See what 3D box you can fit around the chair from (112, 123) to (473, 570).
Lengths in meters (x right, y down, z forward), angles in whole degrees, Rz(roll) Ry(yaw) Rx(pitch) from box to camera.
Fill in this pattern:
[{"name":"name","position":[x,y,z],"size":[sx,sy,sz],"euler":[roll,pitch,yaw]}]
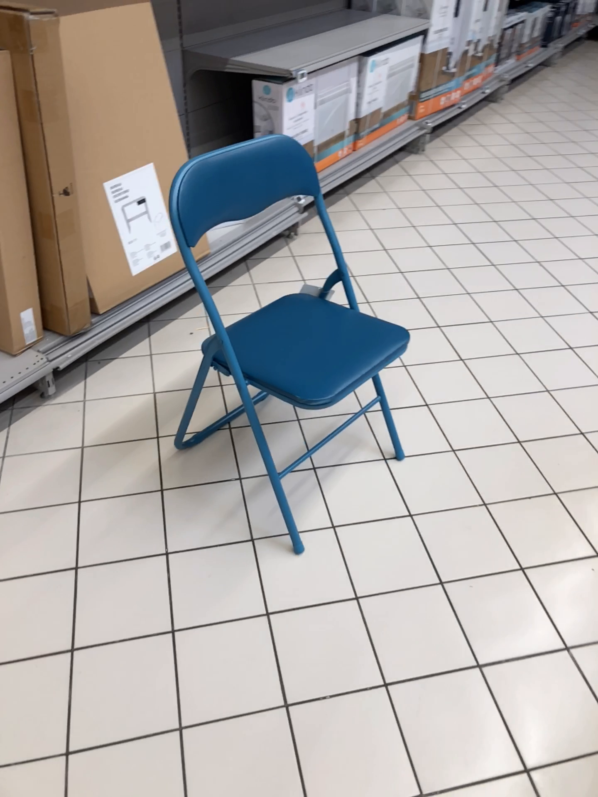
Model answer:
[{"name":"chair","position":[-0.021,-0.135,1.514],"size":[0.500,0.765,0.503],"euler":[31,46,31]}]
